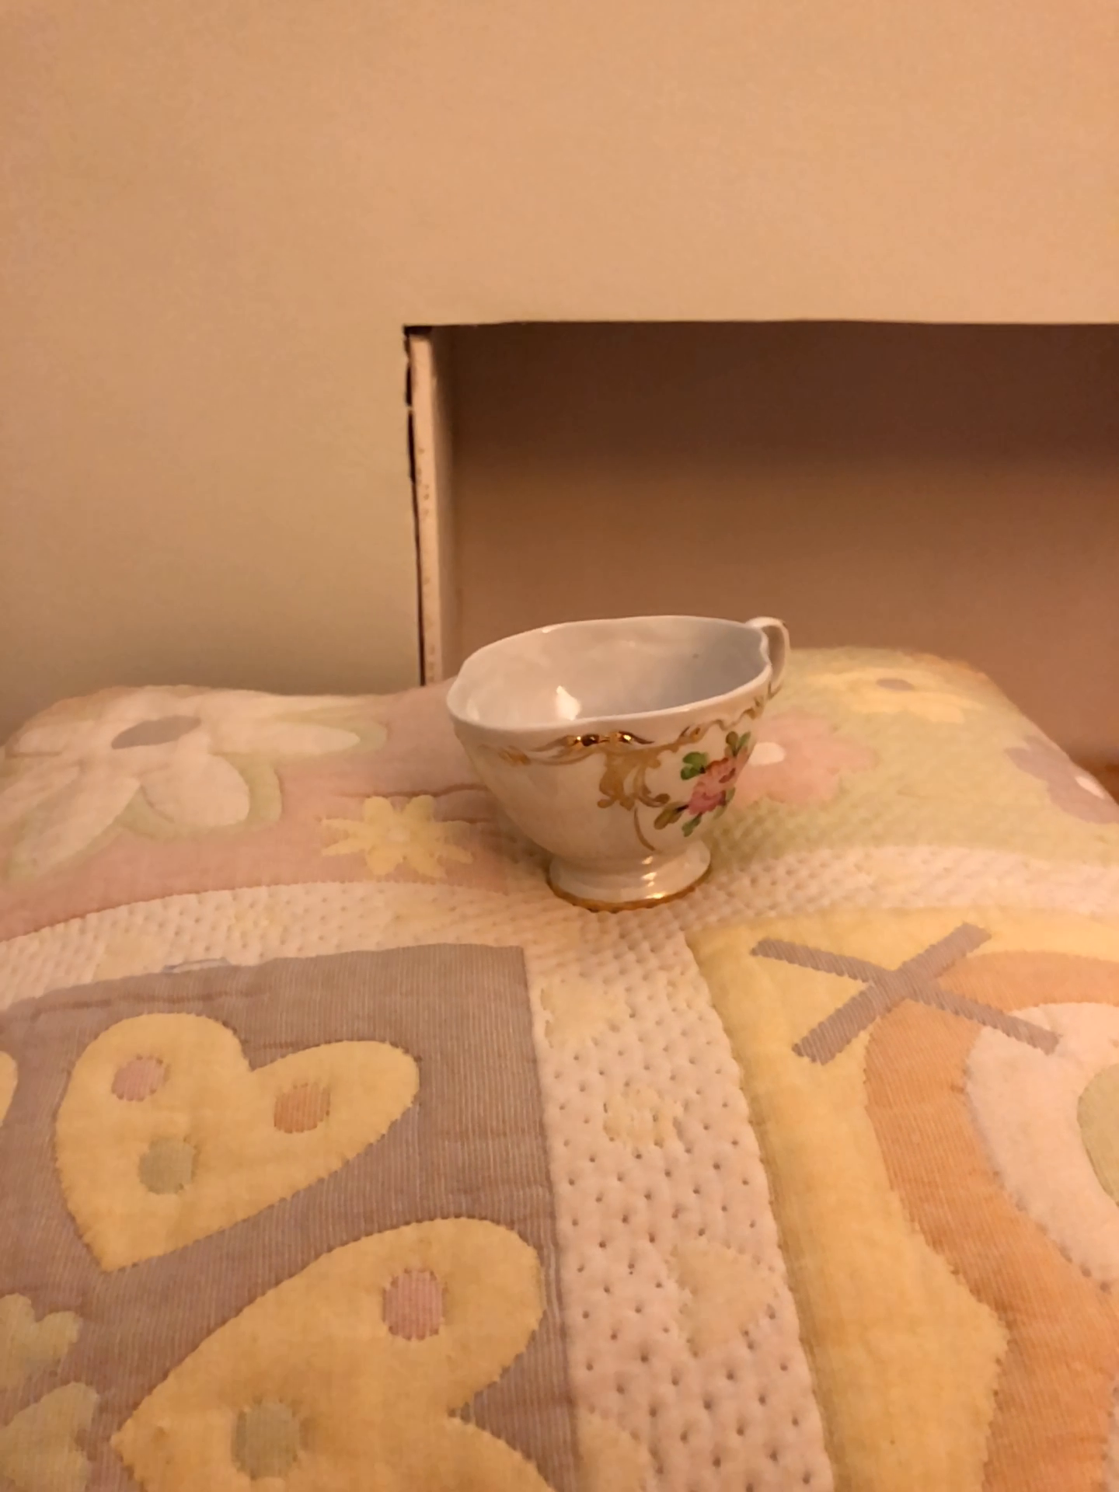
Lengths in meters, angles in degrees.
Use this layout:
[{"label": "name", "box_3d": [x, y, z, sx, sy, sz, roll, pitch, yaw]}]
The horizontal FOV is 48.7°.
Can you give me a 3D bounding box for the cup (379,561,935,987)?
[{"label": "cup", "box_3d": [0.035, -0.003, 0.386, 0.141, 0.070, 0.100, -25, 27, -38]}]
